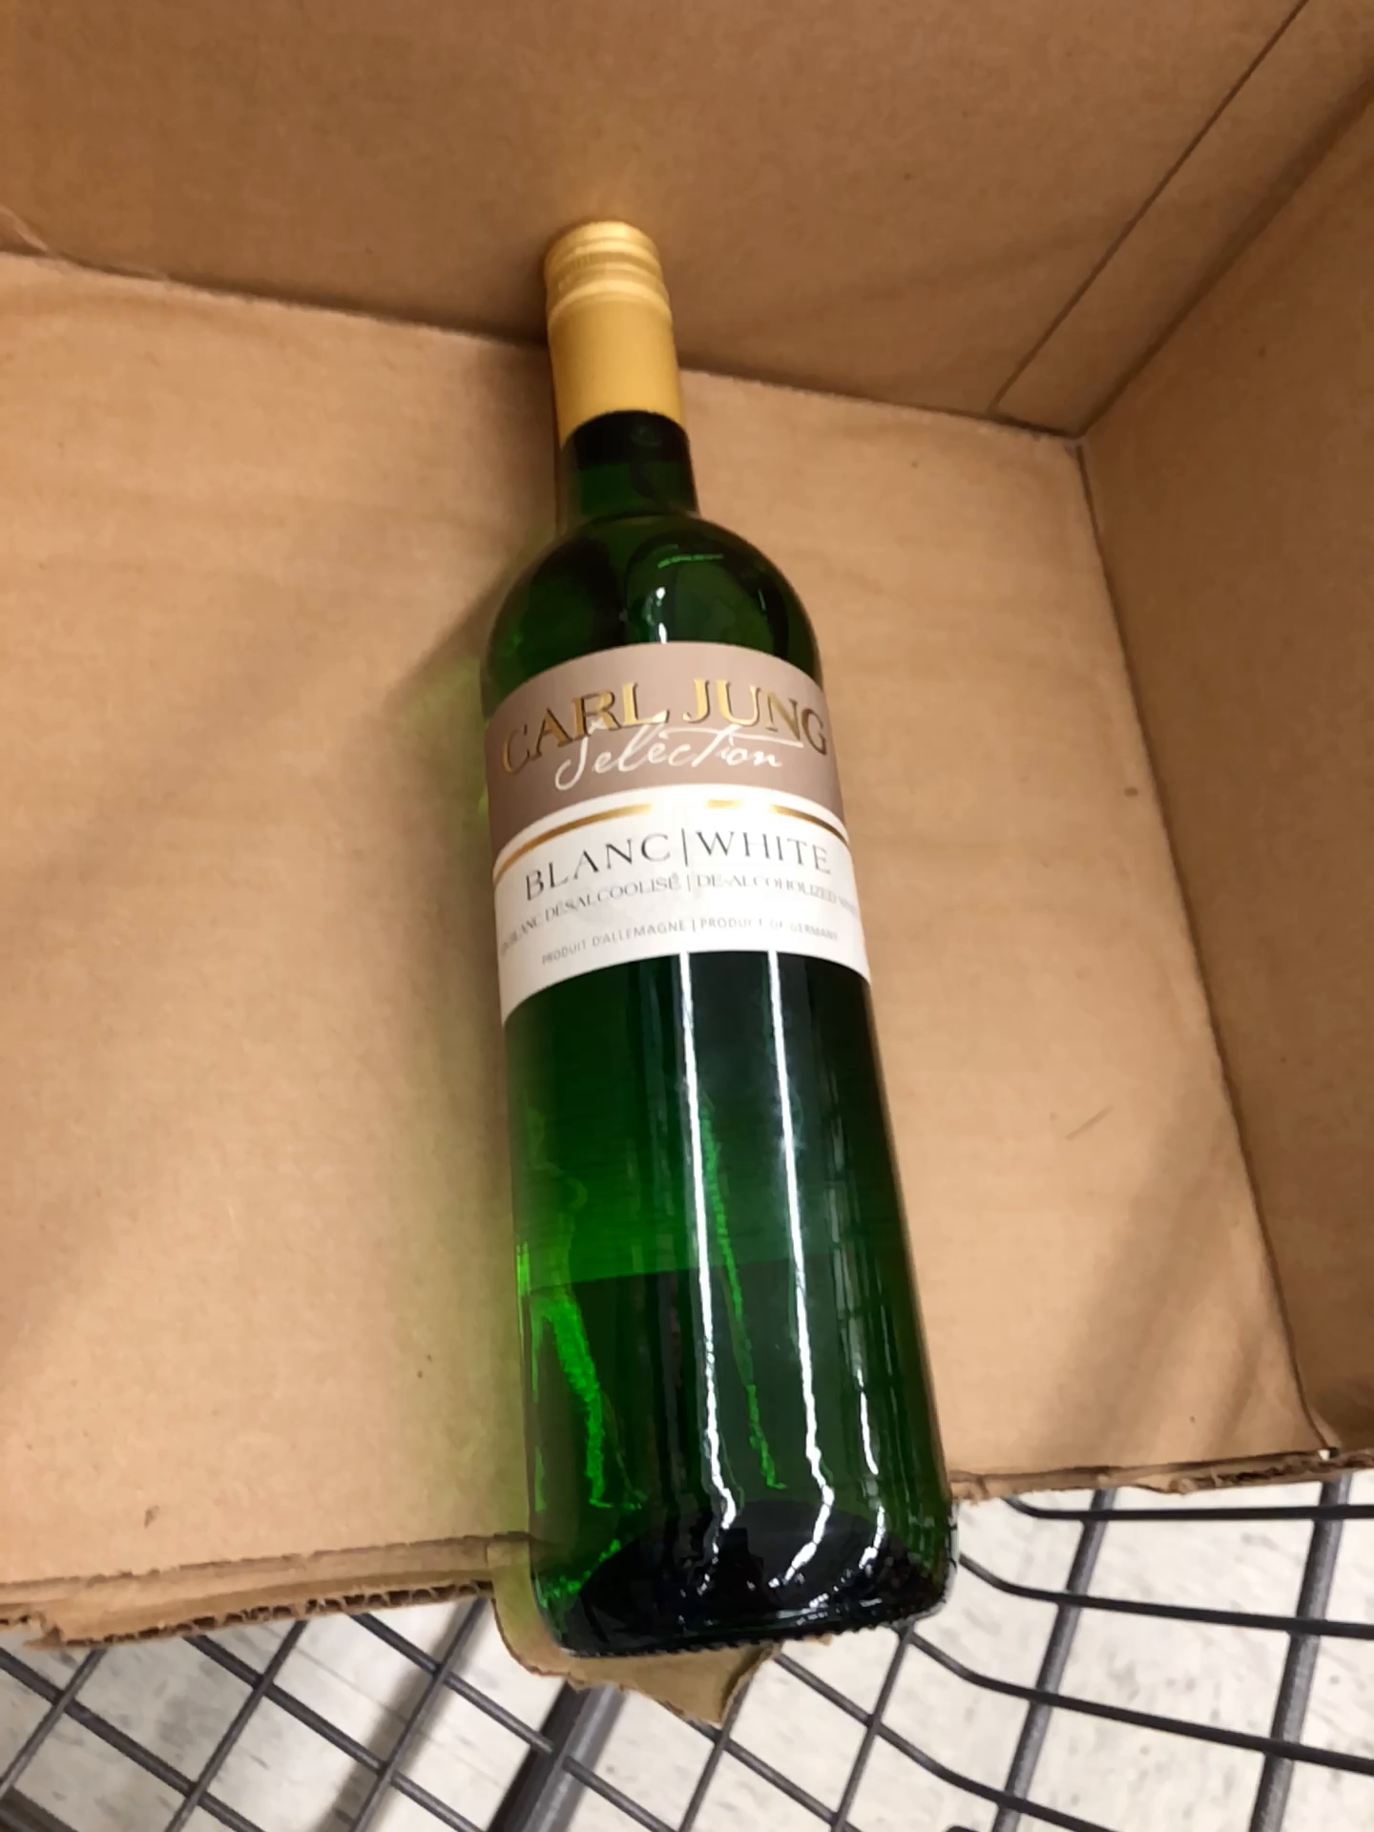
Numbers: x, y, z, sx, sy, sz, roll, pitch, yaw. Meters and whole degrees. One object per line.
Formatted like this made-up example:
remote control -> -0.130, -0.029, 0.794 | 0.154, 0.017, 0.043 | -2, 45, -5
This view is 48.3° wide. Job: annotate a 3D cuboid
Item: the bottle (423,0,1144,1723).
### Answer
bottle -> -0.004, -0.038, 0.302 | 0.080, 0.100, 0.331 | -2, 69, -12
